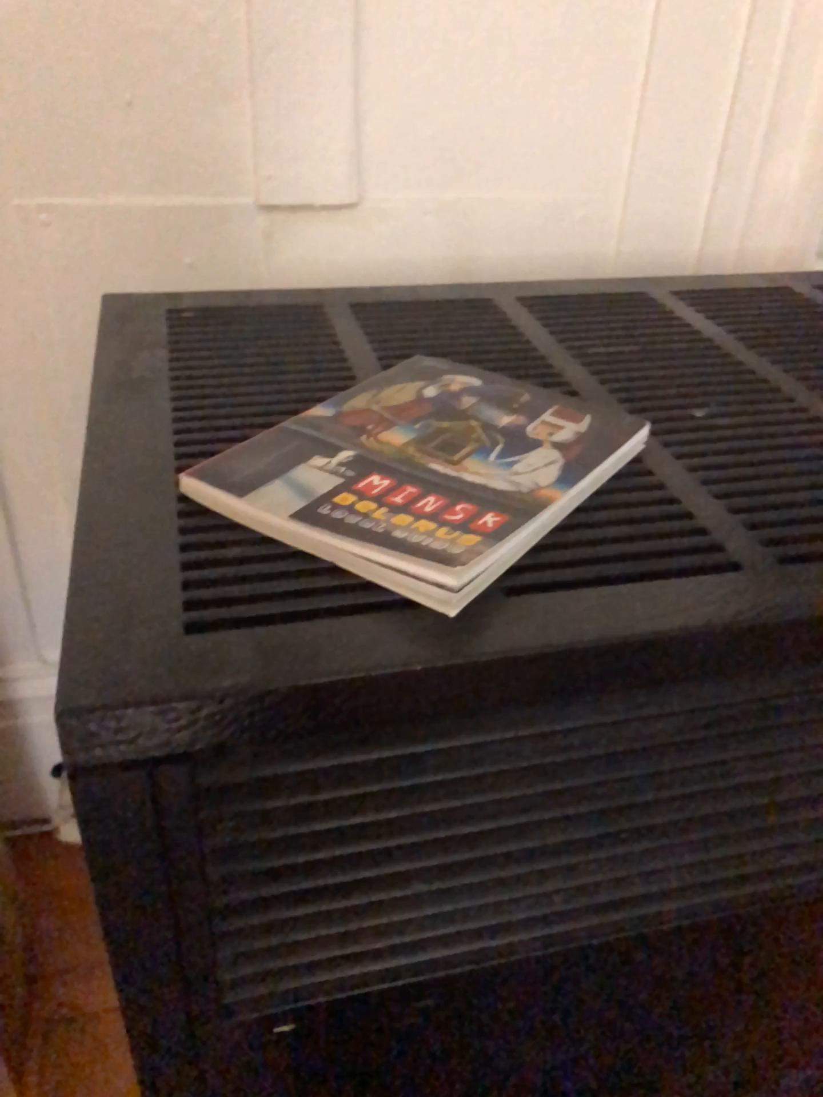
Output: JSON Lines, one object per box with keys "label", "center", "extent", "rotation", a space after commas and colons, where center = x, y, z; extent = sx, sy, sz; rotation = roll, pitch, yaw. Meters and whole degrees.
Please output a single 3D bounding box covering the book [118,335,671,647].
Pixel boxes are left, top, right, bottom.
{"label": "book", "center": [0.002, -0.044, 0.414], "extent": [0.160, 0.020, 0.201], "rotation": [22, 37, 28]}
